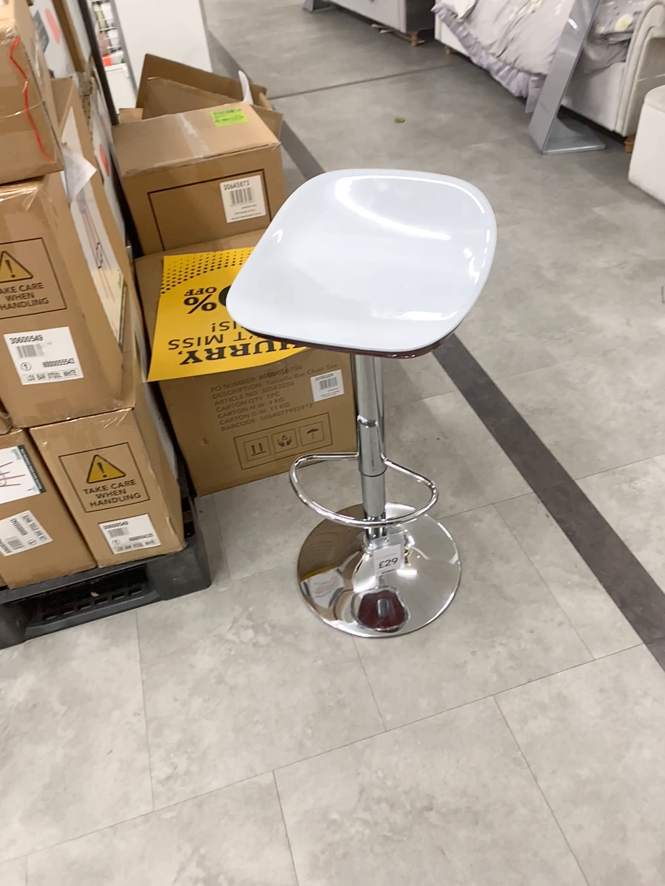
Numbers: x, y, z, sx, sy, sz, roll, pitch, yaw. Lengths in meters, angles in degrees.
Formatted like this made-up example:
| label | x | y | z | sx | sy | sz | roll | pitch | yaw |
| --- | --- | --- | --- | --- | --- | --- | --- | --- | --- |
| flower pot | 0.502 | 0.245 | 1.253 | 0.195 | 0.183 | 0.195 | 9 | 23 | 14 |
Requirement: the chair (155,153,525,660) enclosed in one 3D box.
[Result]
| label | x | y | z | sx | sy | sz | roll | pitch | yaw |
| --- | --- | --- | --- | --- | --- | --- | --- | --- | --- |
| chair | 0.072 | -0.046 | 1.256 | 0.436 | 0.792 | 0.438 | 8 | 45 | 16 |
